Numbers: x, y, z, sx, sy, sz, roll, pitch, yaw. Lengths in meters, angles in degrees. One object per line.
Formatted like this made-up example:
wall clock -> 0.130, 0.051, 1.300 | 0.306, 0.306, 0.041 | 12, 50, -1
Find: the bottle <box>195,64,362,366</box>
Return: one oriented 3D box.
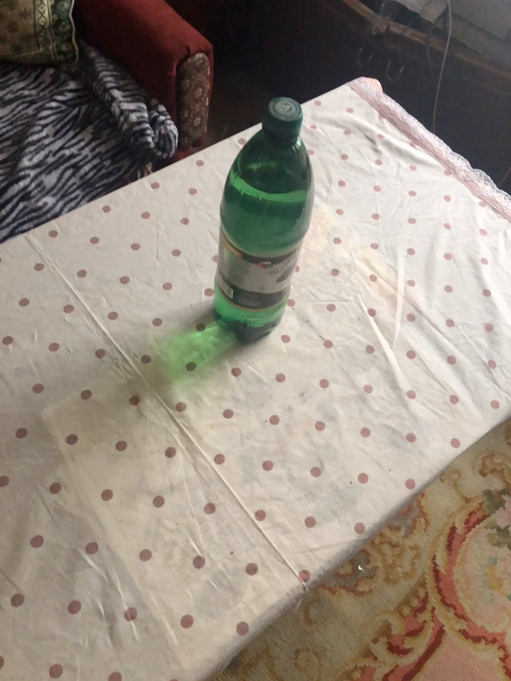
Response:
bottle -> 0.007, -0.095, 0.539 | 0.100, 0.279, 0.100 | 3, 61, -5
